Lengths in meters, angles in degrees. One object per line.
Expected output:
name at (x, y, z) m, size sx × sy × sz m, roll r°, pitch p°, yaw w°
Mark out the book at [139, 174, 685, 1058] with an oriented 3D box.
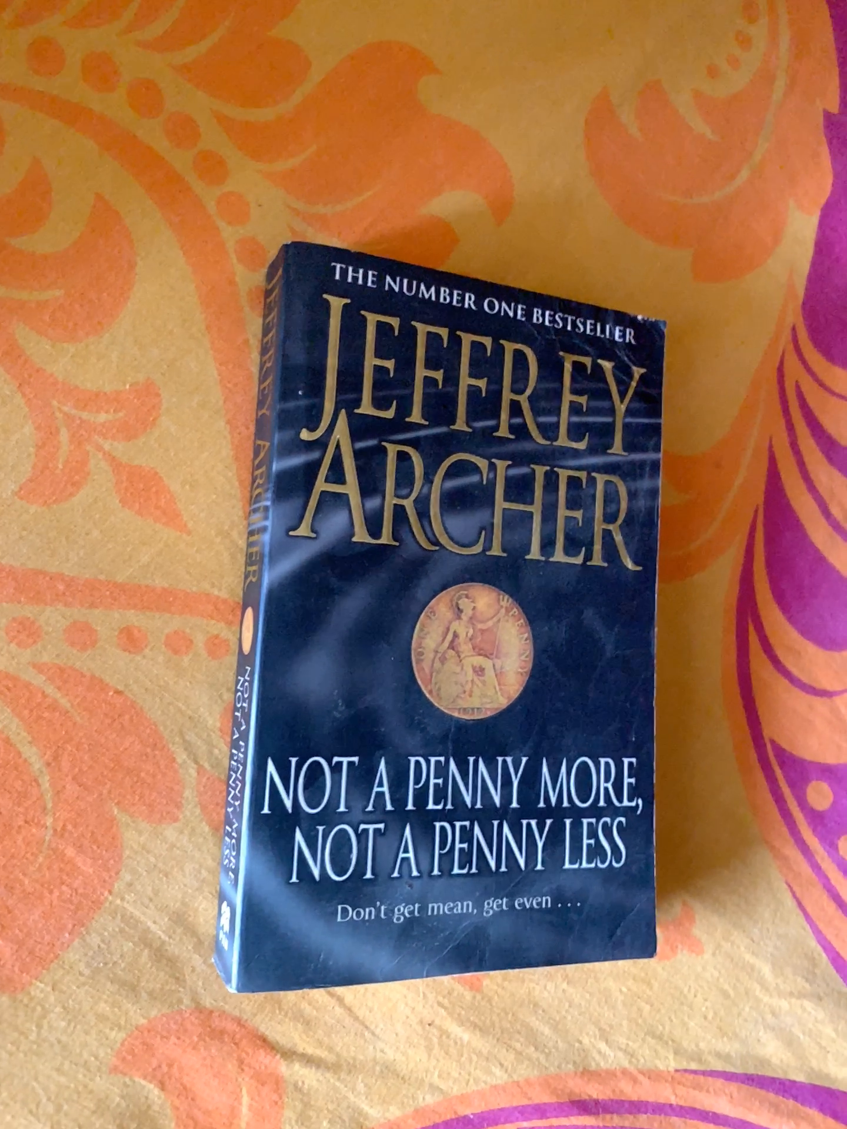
book at (0.003, 0.010, 0.194) m, size 0.110 × 0.030 × 0.160 m, roll 5°, pitch 82°, yaw -22°
